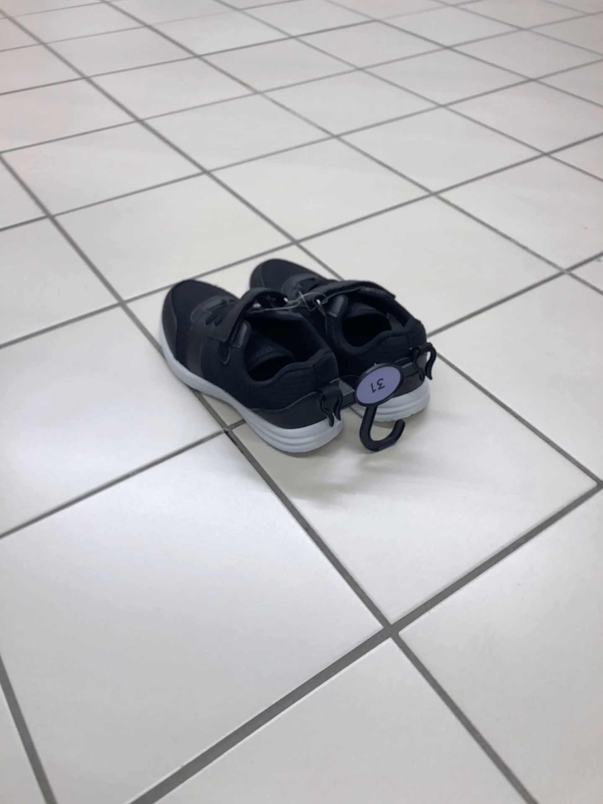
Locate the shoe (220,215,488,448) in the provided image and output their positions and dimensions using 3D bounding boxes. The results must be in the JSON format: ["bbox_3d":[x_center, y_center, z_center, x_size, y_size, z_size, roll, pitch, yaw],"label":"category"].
[{"bbox_3d":[0.034,-0.070,0.563,0.098,0.064,0.222,-27,50,-26],"label":"shoe"}]

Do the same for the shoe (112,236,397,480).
[{"bbox_3d":[-0.043,-0.046,0.536,0.098,0.064,0.222,-34,53,-30],"label":"shoe"}]
